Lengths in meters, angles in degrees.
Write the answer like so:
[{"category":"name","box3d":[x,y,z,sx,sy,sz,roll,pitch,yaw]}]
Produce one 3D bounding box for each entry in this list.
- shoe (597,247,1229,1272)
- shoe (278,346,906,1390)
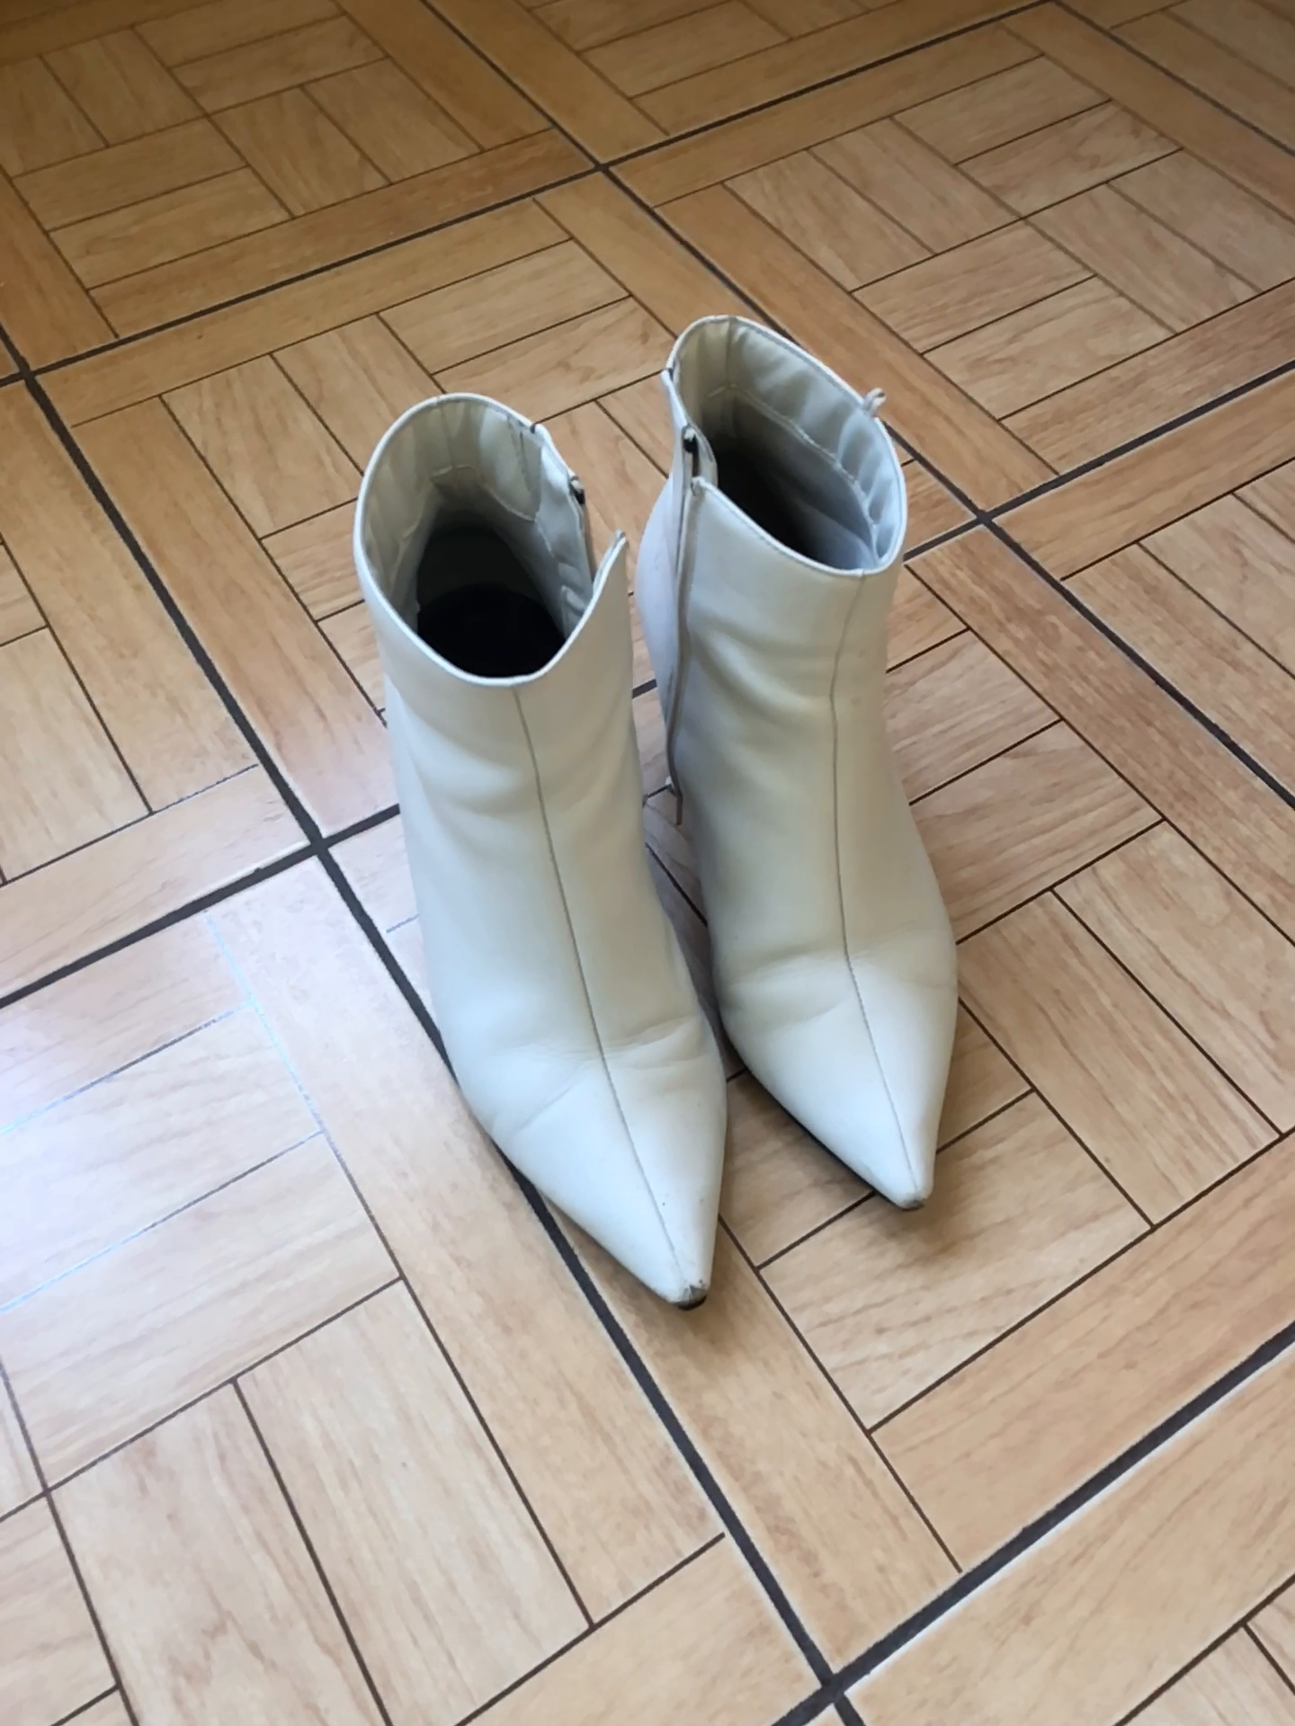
[{"category":"shoe","box3d":[0.056,-0.038,0.449,0.100,0.155,0.274,-8,57,-5]},{"category":"shoe","box3d":[-0.028,-0.002,0.426,0.100,0.155,0.254,-13,58,-9]}]
